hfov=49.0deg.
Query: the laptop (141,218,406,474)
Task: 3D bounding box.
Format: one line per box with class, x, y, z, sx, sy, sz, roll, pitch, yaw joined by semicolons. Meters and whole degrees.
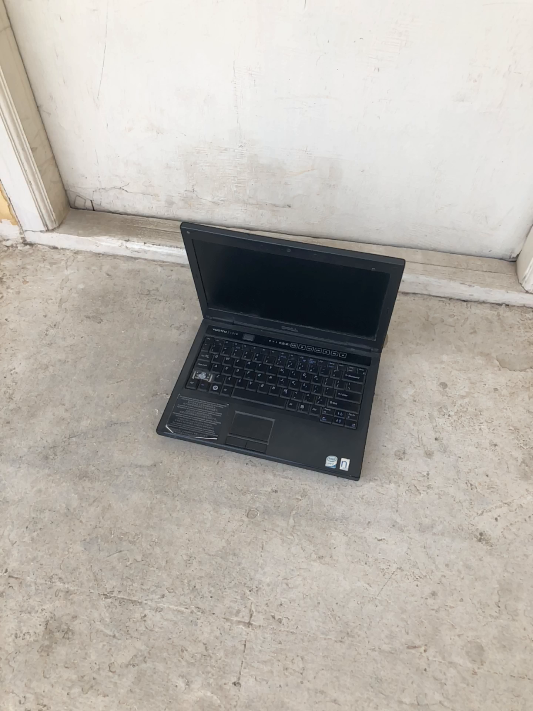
laptop;0.016;-0.013;0.828;0.293;0.219;0.214;11;55;9
